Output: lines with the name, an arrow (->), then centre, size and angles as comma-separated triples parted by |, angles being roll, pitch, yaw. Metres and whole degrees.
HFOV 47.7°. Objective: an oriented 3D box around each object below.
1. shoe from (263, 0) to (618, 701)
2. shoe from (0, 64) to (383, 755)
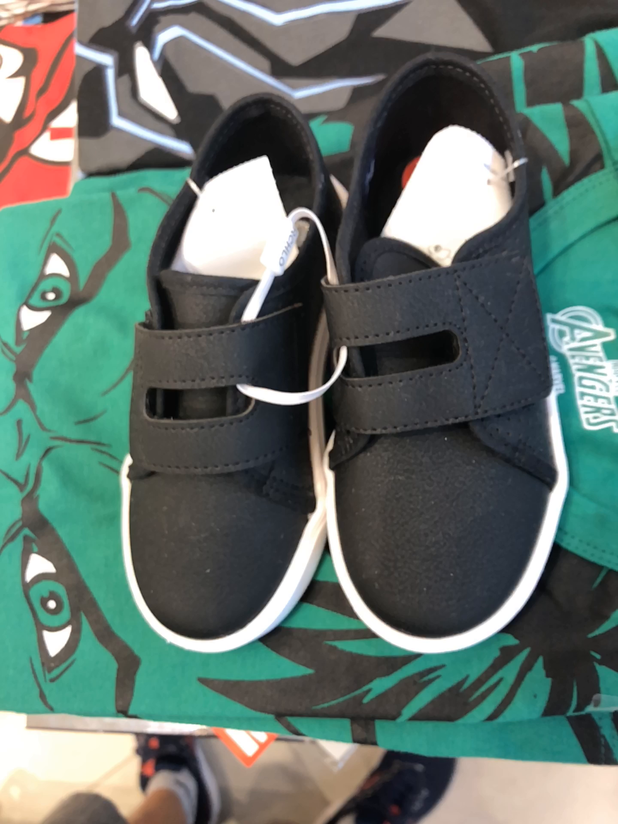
shoe -> 0.042, -0.015, 0.213 | 0.090, 0.090, 0.170 | 0, 80, 7
shoe -> -0.027, -0.002, 0.221 | 0.080, 0.090, 0.170 | 6, 81, 8
